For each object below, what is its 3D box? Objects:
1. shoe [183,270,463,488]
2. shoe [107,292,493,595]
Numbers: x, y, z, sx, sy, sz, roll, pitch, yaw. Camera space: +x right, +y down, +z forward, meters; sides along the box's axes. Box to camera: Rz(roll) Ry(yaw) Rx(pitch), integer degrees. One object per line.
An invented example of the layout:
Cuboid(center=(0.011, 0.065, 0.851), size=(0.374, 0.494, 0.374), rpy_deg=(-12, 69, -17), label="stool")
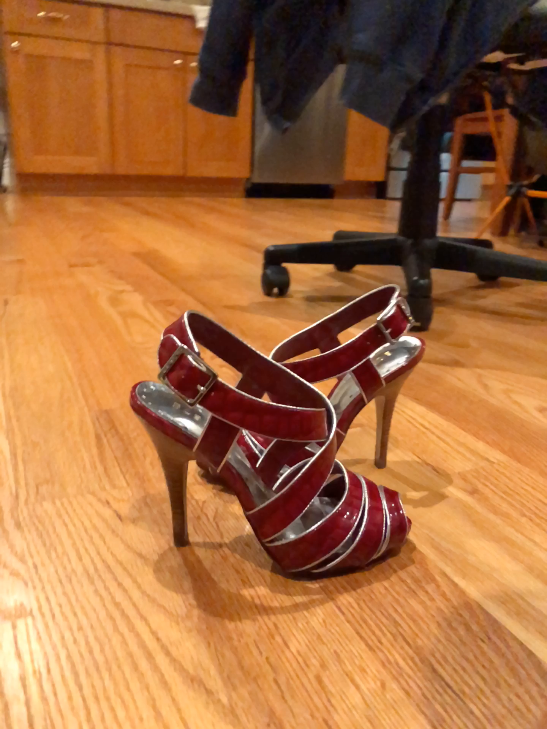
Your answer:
Cuboid(center=(0.030, 0.004, 0.478), size=(0.193, 0.141, 0.092), rpy_deg=(-2, 19, -12), label="shoe")
Cuboid(center=(0.009, 0.040, 0.370), size=(0.198, 0.151, 0.092), rpy_deg=(-1, 19, -9), label="shoe")
